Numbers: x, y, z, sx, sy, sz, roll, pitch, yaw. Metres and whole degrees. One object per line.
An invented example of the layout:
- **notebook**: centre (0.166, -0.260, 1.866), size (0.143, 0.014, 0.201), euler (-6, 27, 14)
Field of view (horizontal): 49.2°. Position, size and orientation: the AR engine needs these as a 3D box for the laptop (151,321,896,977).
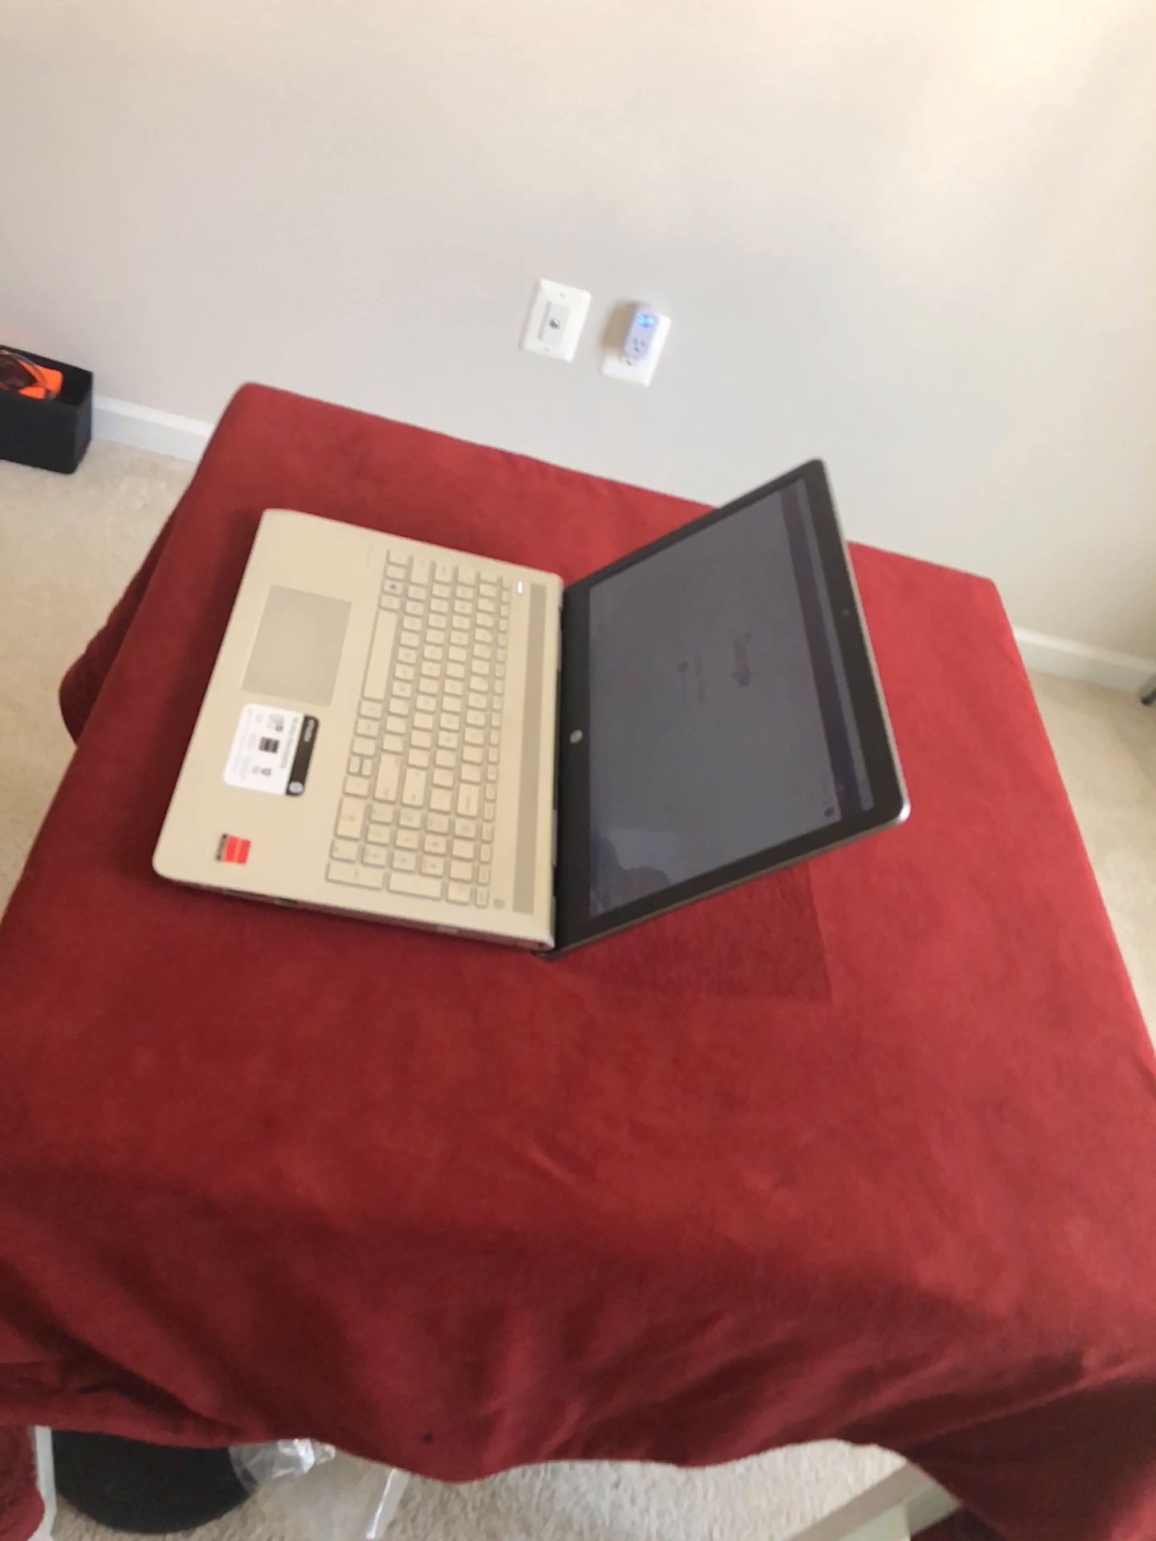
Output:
- **laptop**: centre (-0.034, -0.090, 0.842), size (0.395, 0.158, 0.362), euler (12, 44, -11)
